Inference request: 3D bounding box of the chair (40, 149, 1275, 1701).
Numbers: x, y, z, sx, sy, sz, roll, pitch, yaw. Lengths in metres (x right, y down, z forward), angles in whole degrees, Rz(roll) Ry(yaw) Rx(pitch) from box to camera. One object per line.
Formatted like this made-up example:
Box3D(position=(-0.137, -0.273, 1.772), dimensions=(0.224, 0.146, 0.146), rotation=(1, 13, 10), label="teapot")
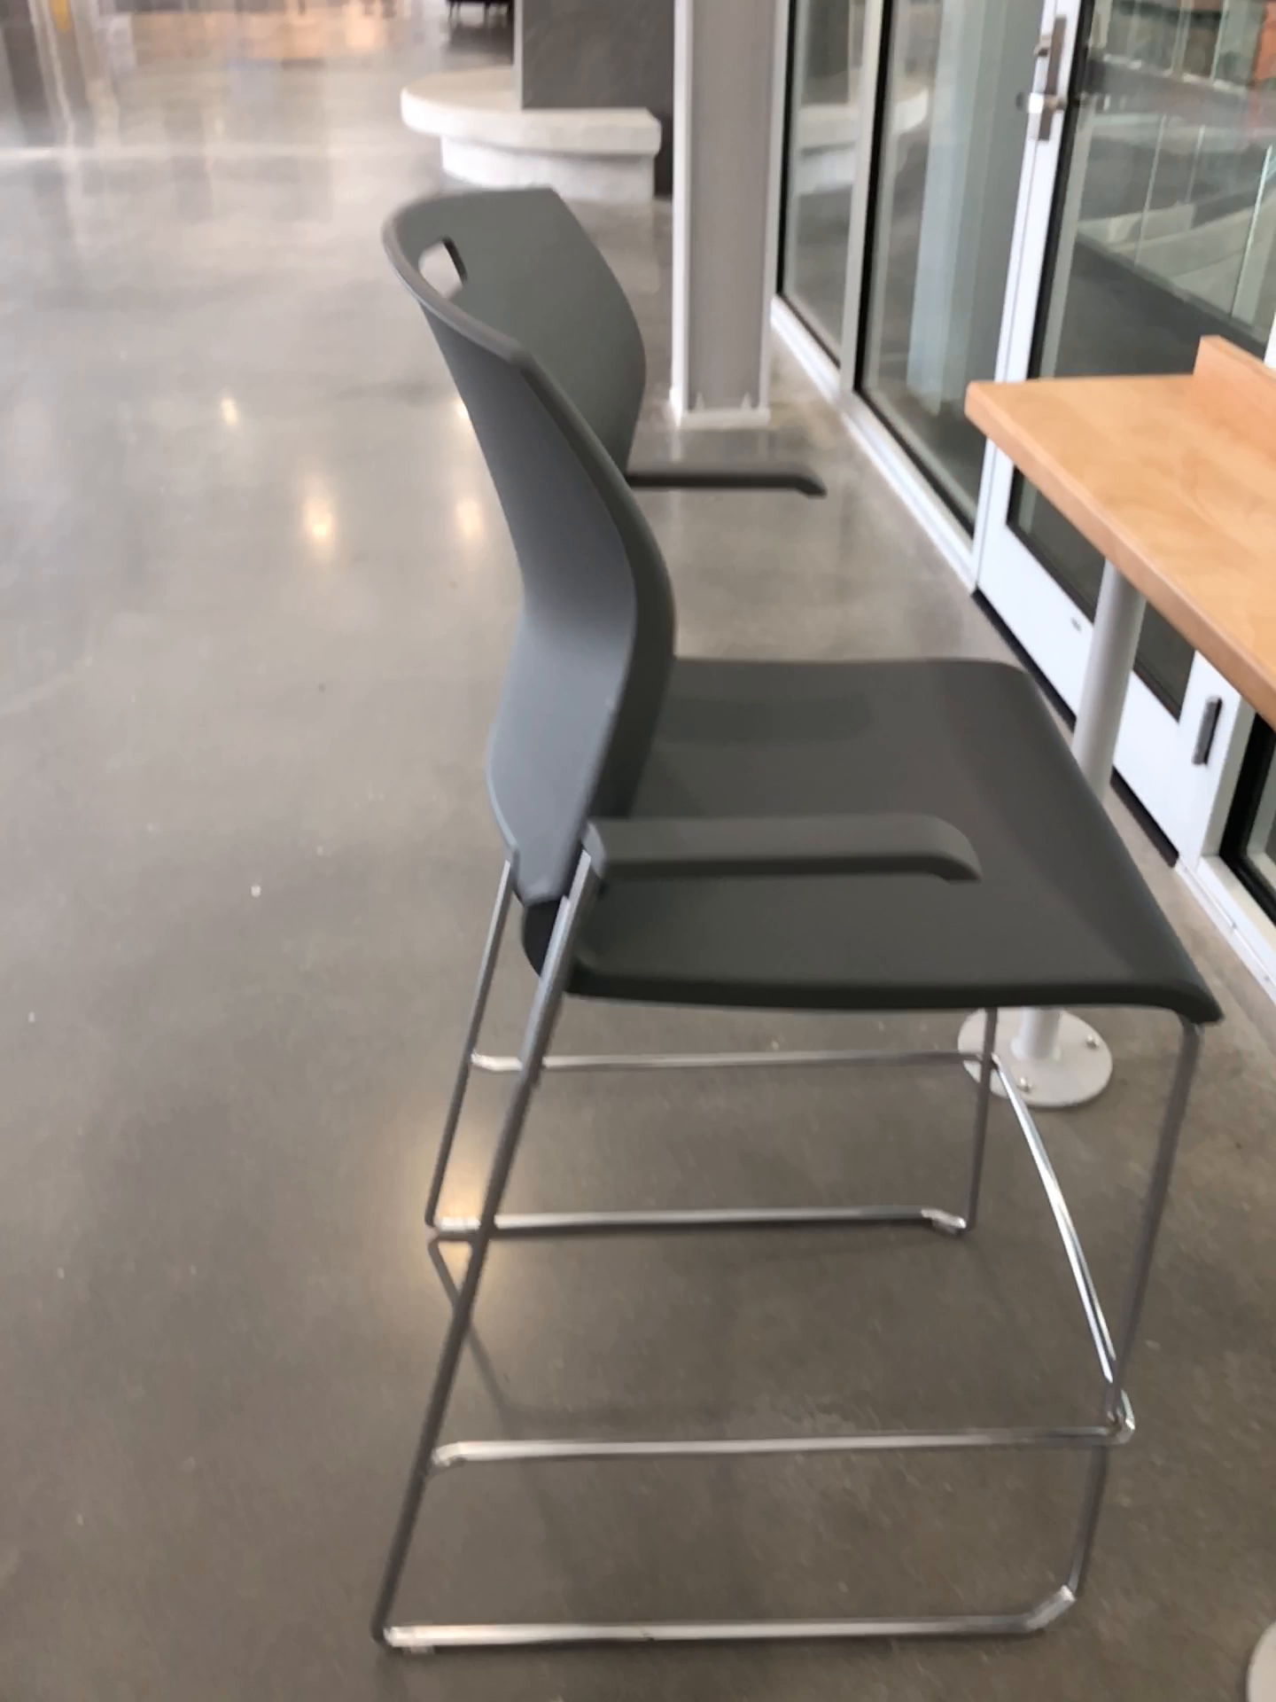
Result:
Box3D(position=(0.082, 0.088, 1.096), dimensions=(0.660, 1.072, 0.604), rotation=(-2, 33, -3), label="chair")
